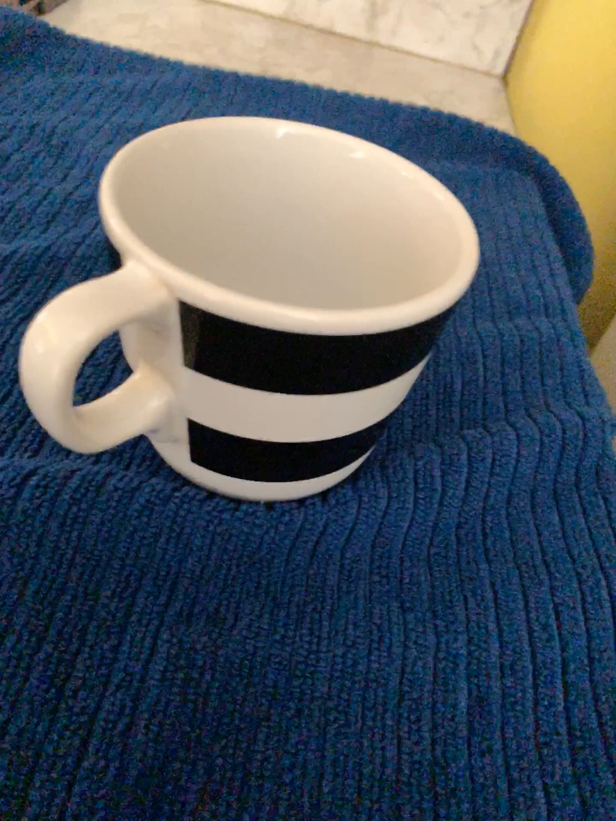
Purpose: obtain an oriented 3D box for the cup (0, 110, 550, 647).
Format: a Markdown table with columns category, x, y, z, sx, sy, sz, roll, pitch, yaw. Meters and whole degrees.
| category | x | y | z | sx | sy | sz | roll | pitch | yaw |
| --- | --- | --- | --- | --- | --- | --- | --- | --- | --- |
| cup | -0.012 | -0.022 | 0.160 | 0.085 | 0.057 | 0.113 | 34 | 46 | 23 |
